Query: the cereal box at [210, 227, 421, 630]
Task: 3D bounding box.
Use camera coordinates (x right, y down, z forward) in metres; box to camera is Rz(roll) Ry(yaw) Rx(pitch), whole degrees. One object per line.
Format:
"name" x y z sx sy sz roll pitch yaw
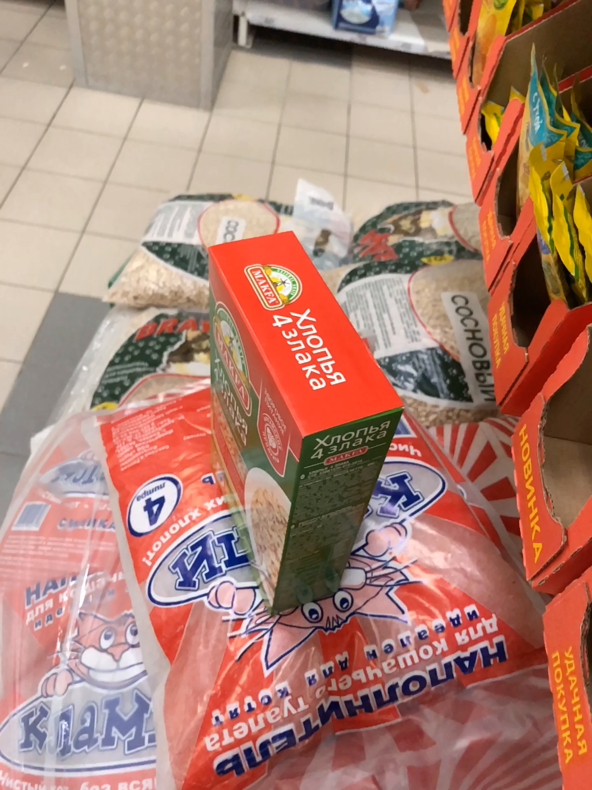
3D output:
"cereal box" -0.006 0.031 0.395 0.050 0.209 0.141 -15 54 -18
